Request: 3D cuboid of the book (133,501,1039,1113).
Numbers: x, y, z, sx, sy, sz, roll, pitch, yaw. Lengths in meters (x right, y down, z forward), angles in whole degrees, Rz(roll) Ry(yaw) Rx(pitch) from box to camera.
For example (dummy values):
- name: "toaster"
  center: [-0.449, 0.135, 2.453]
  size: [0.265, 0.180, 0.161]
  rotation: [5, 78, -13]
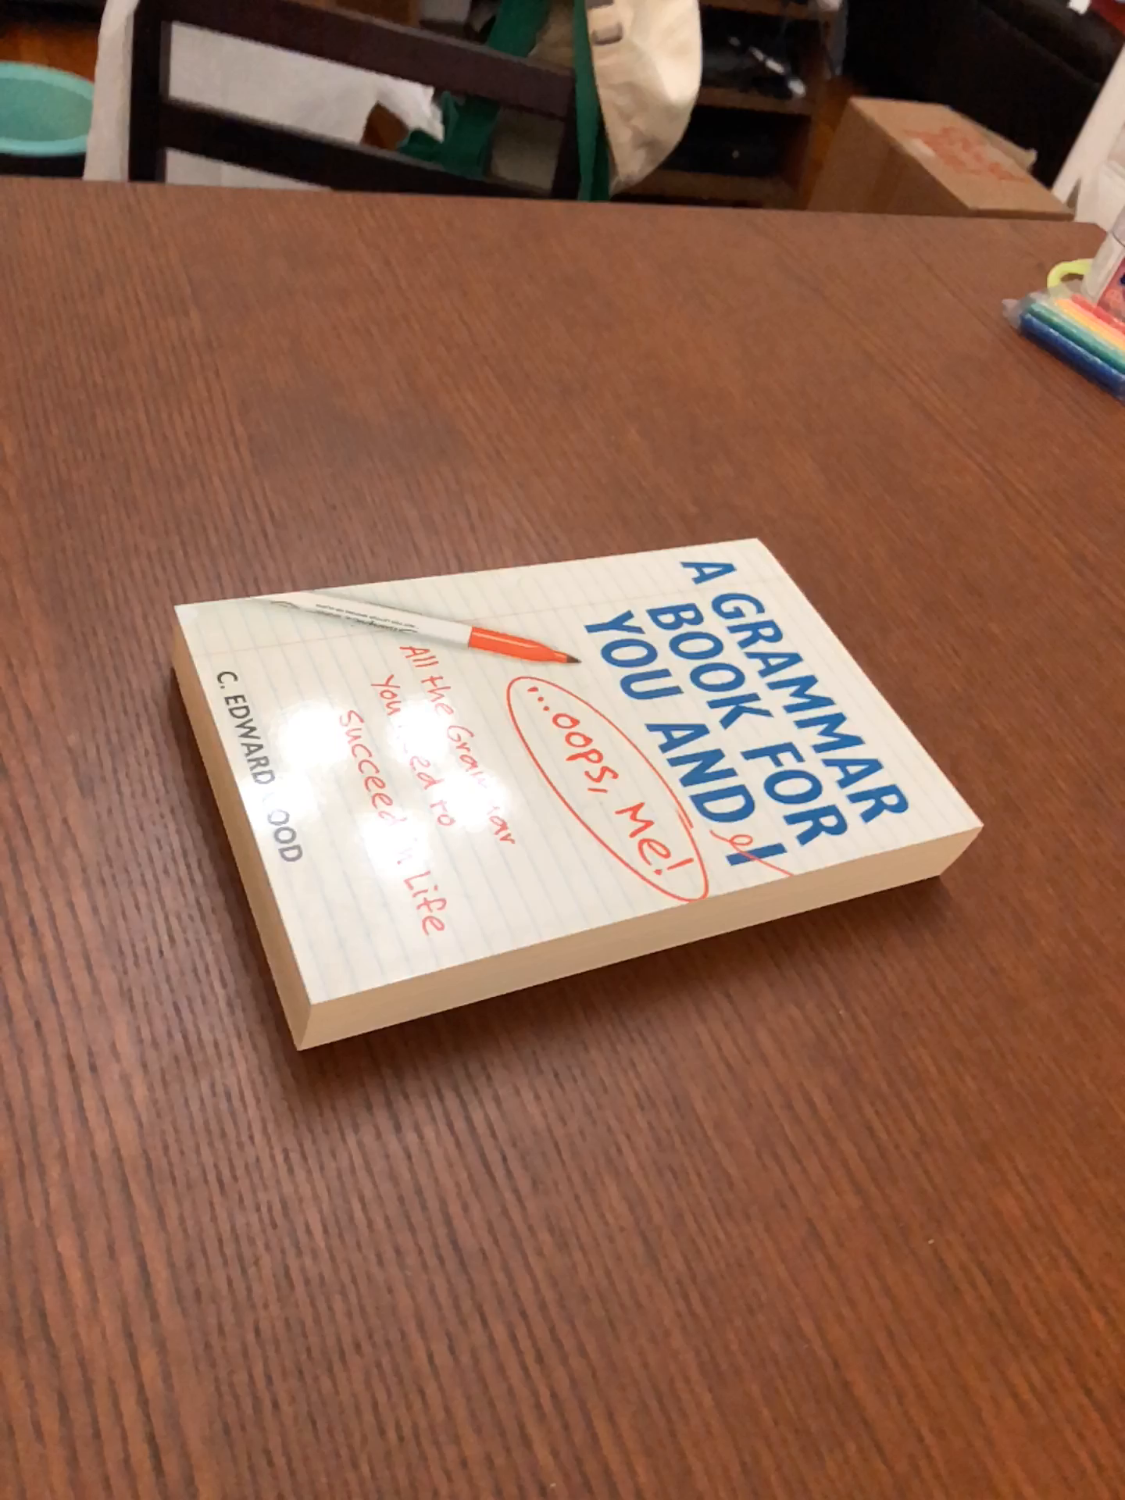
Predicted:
- name: "book"
  center: [0.004, -0.002, 0.400]
  size: [0.240, 0.040, 0.171]
  rotation: [-10, 52, -25]
